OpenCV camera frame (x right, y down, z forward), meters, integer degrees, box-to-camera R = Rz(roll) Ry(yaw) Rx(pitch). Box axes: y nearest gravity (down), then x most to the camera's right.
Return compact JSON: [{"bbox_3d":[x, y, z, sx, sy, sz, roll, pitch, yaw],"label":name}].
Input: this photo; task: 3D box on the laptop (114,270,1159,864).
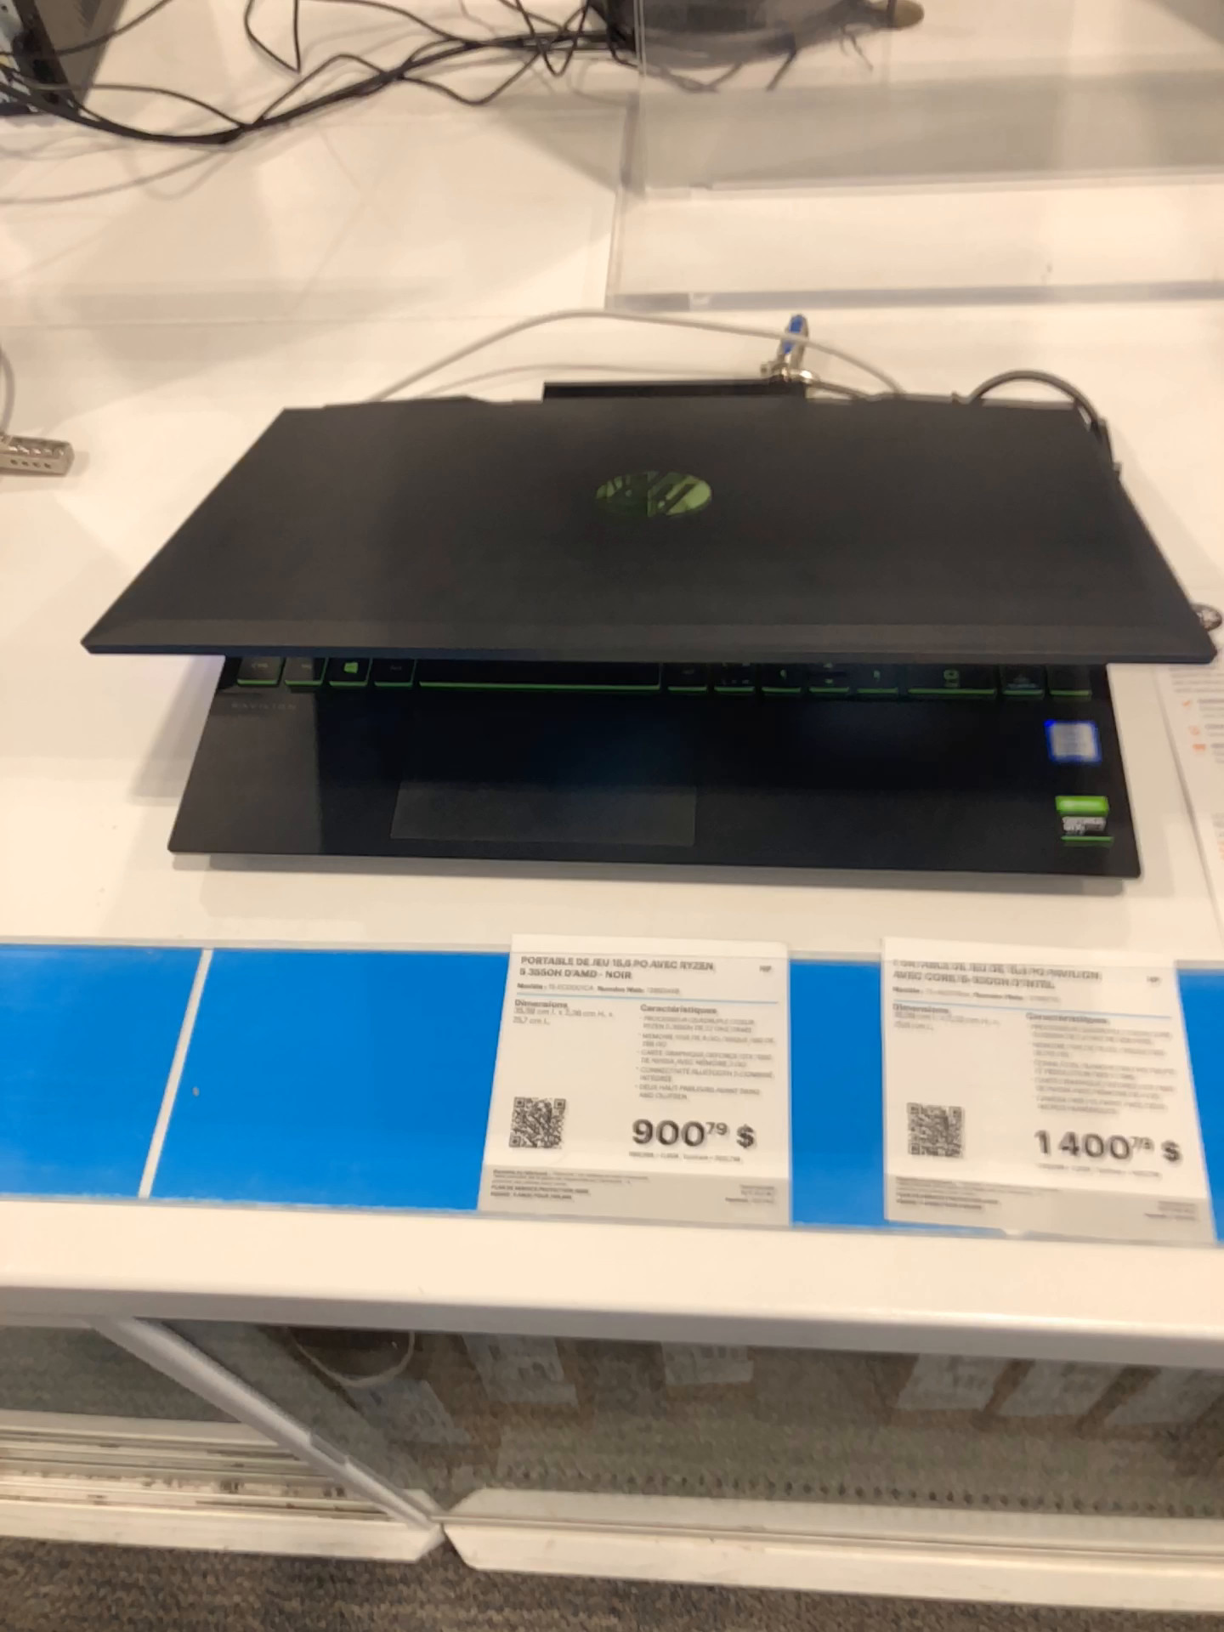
[{"bbox_3d":[0.012,-0.100,0.516,0.339,0.064,0.222,1,61,5],"label":"laptop"}]
